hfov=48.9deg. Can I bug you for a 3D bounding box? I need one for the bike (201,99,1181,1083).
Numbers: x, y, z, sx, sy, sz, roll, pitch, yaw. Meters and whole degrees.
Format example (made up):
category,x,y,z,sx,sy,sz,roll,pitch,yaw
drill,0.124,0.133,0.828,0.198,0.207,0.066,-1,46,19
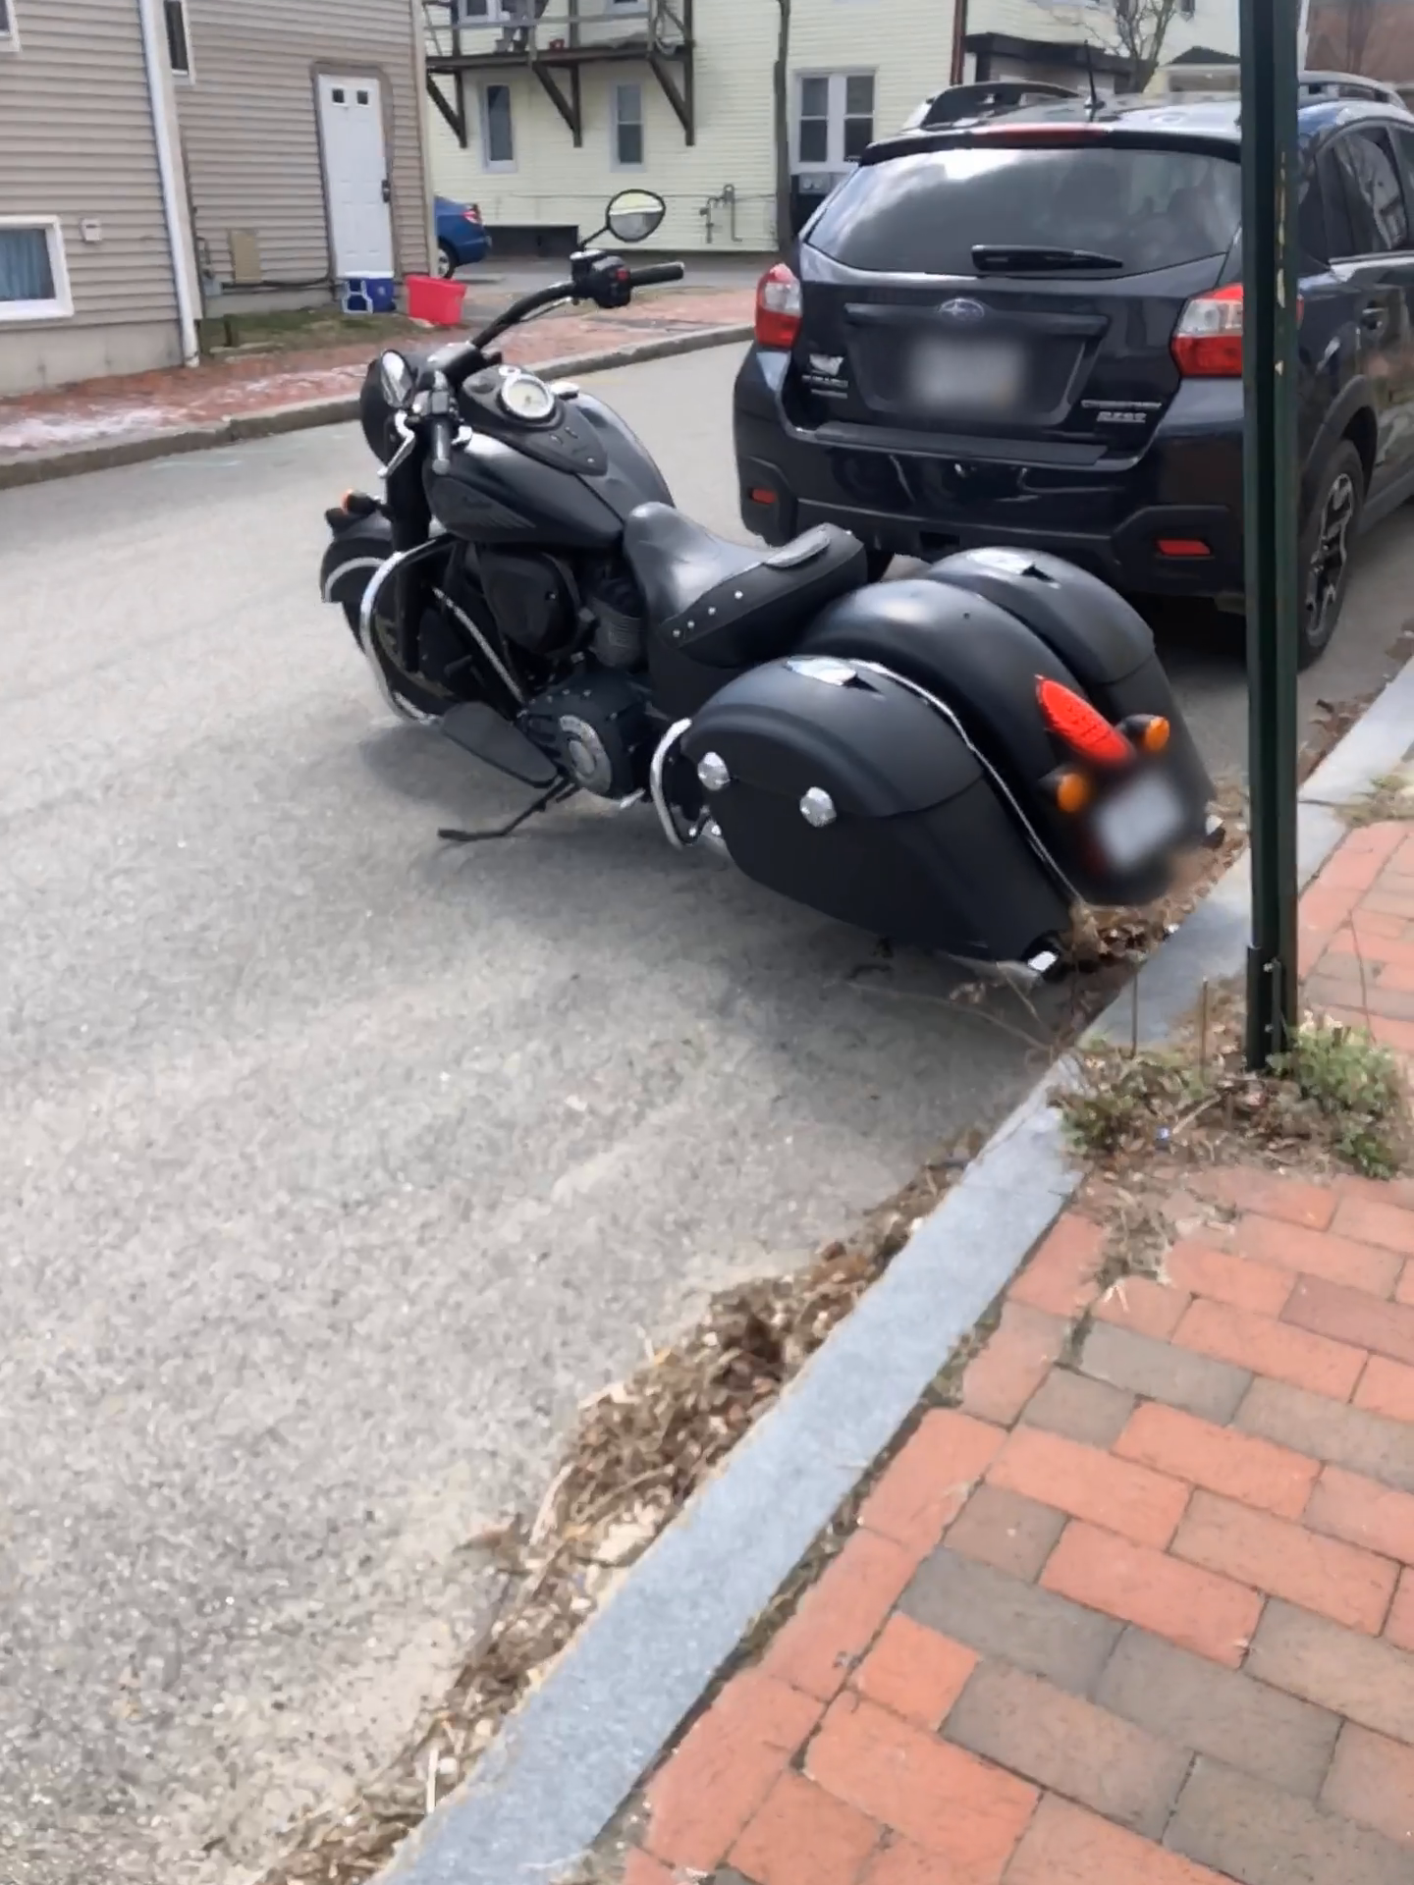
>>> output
category,x,y,z,sx,sy,sz,roll,pitch,yaw
bike,-0.069,-0.697,2.745,1.527,1.141,0.547,23,33,28
